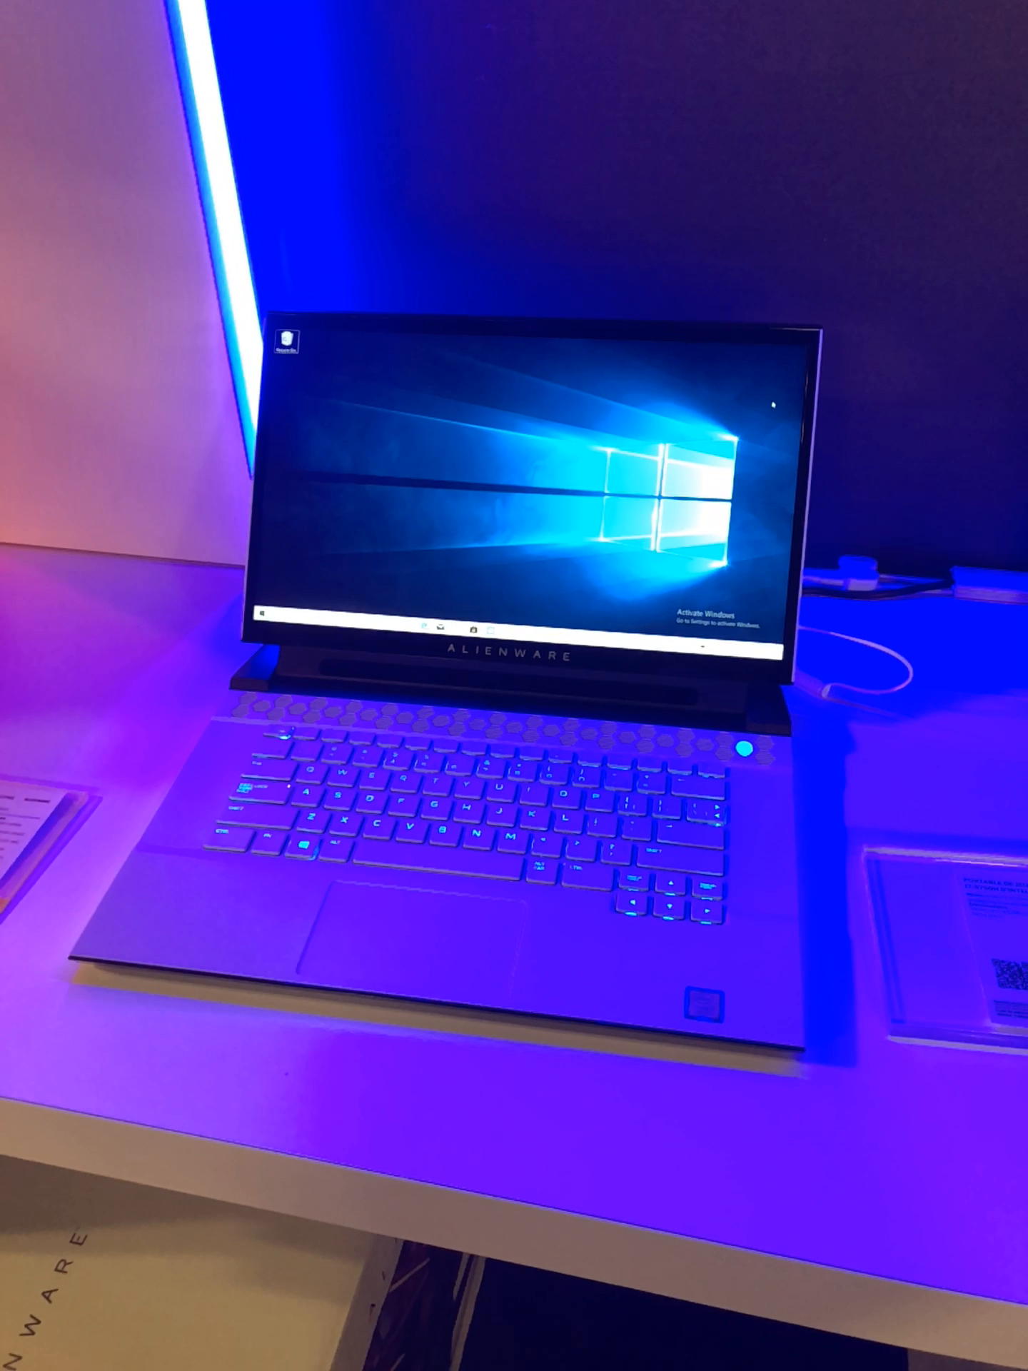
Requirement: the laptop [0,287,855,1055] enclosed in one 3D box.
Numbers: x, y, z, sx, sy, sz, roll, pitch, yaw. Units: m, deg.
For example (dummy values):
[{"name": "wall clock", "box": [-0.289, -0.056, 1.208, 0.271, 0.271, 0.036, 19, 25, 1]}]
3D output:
[{"name": "laptop", "box": [-0.018, -0.049, 0.631, 0.356, 0.194, 0.381, 5, 39, 9]}]
